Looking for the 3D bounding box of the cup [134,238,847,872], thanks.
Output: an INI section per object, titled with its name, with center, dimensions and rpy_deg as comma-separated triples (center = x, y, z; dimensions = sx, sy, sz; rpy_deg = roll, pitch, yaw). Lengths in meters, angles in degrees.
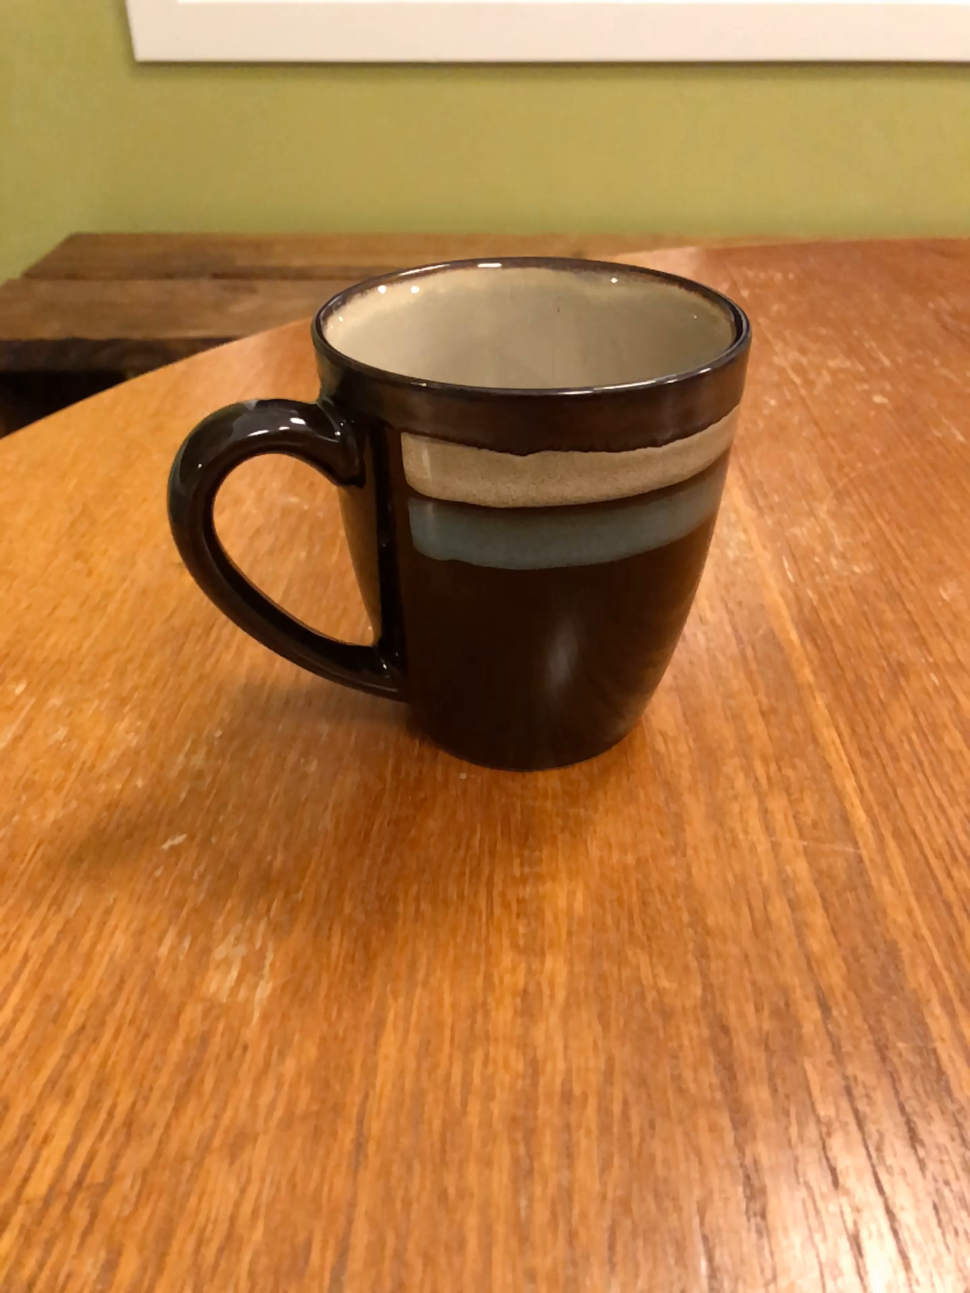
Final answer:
[cup]
center = -0.006, -0.030, 0.252
dimensions = 0.125, 0.093, 0.099
rpy_deg = -11, 36, -15
